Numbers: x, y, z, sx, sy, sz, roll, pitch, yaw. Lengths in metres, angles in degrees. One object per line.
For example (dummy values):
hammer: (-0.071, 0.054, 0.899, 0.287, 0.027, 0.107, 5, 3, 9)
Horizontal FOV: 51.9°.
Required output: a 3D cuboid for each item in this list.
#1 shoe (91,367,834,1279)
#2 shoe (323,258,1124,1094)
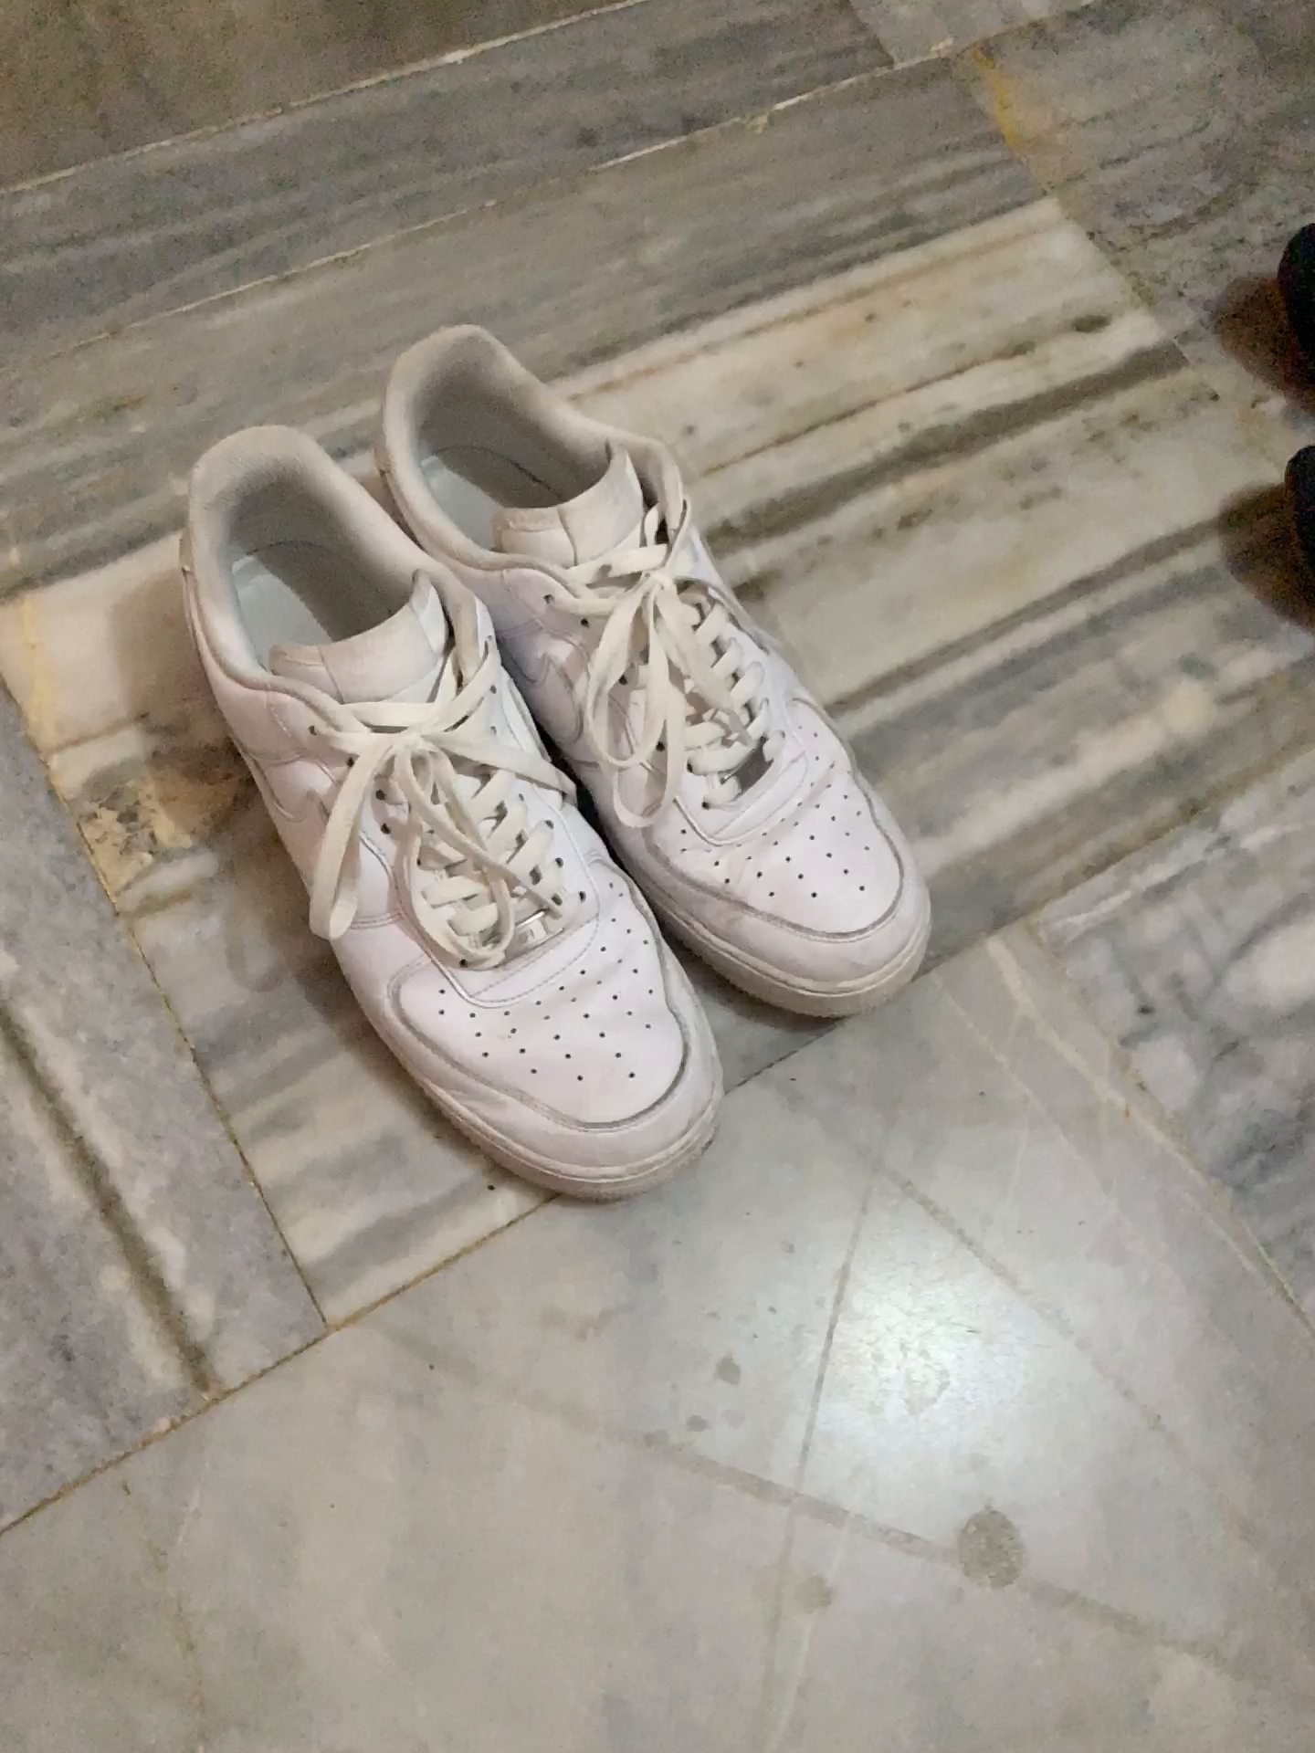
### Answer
shoe: (-0.080, -0.020, 0.512, 0.110, 0.120, 0.310, -29, 75, -18)
shoe: (0.012, -0.078, 0.541, 0.110, 0.120, 0.310, -39, 79, -20)
